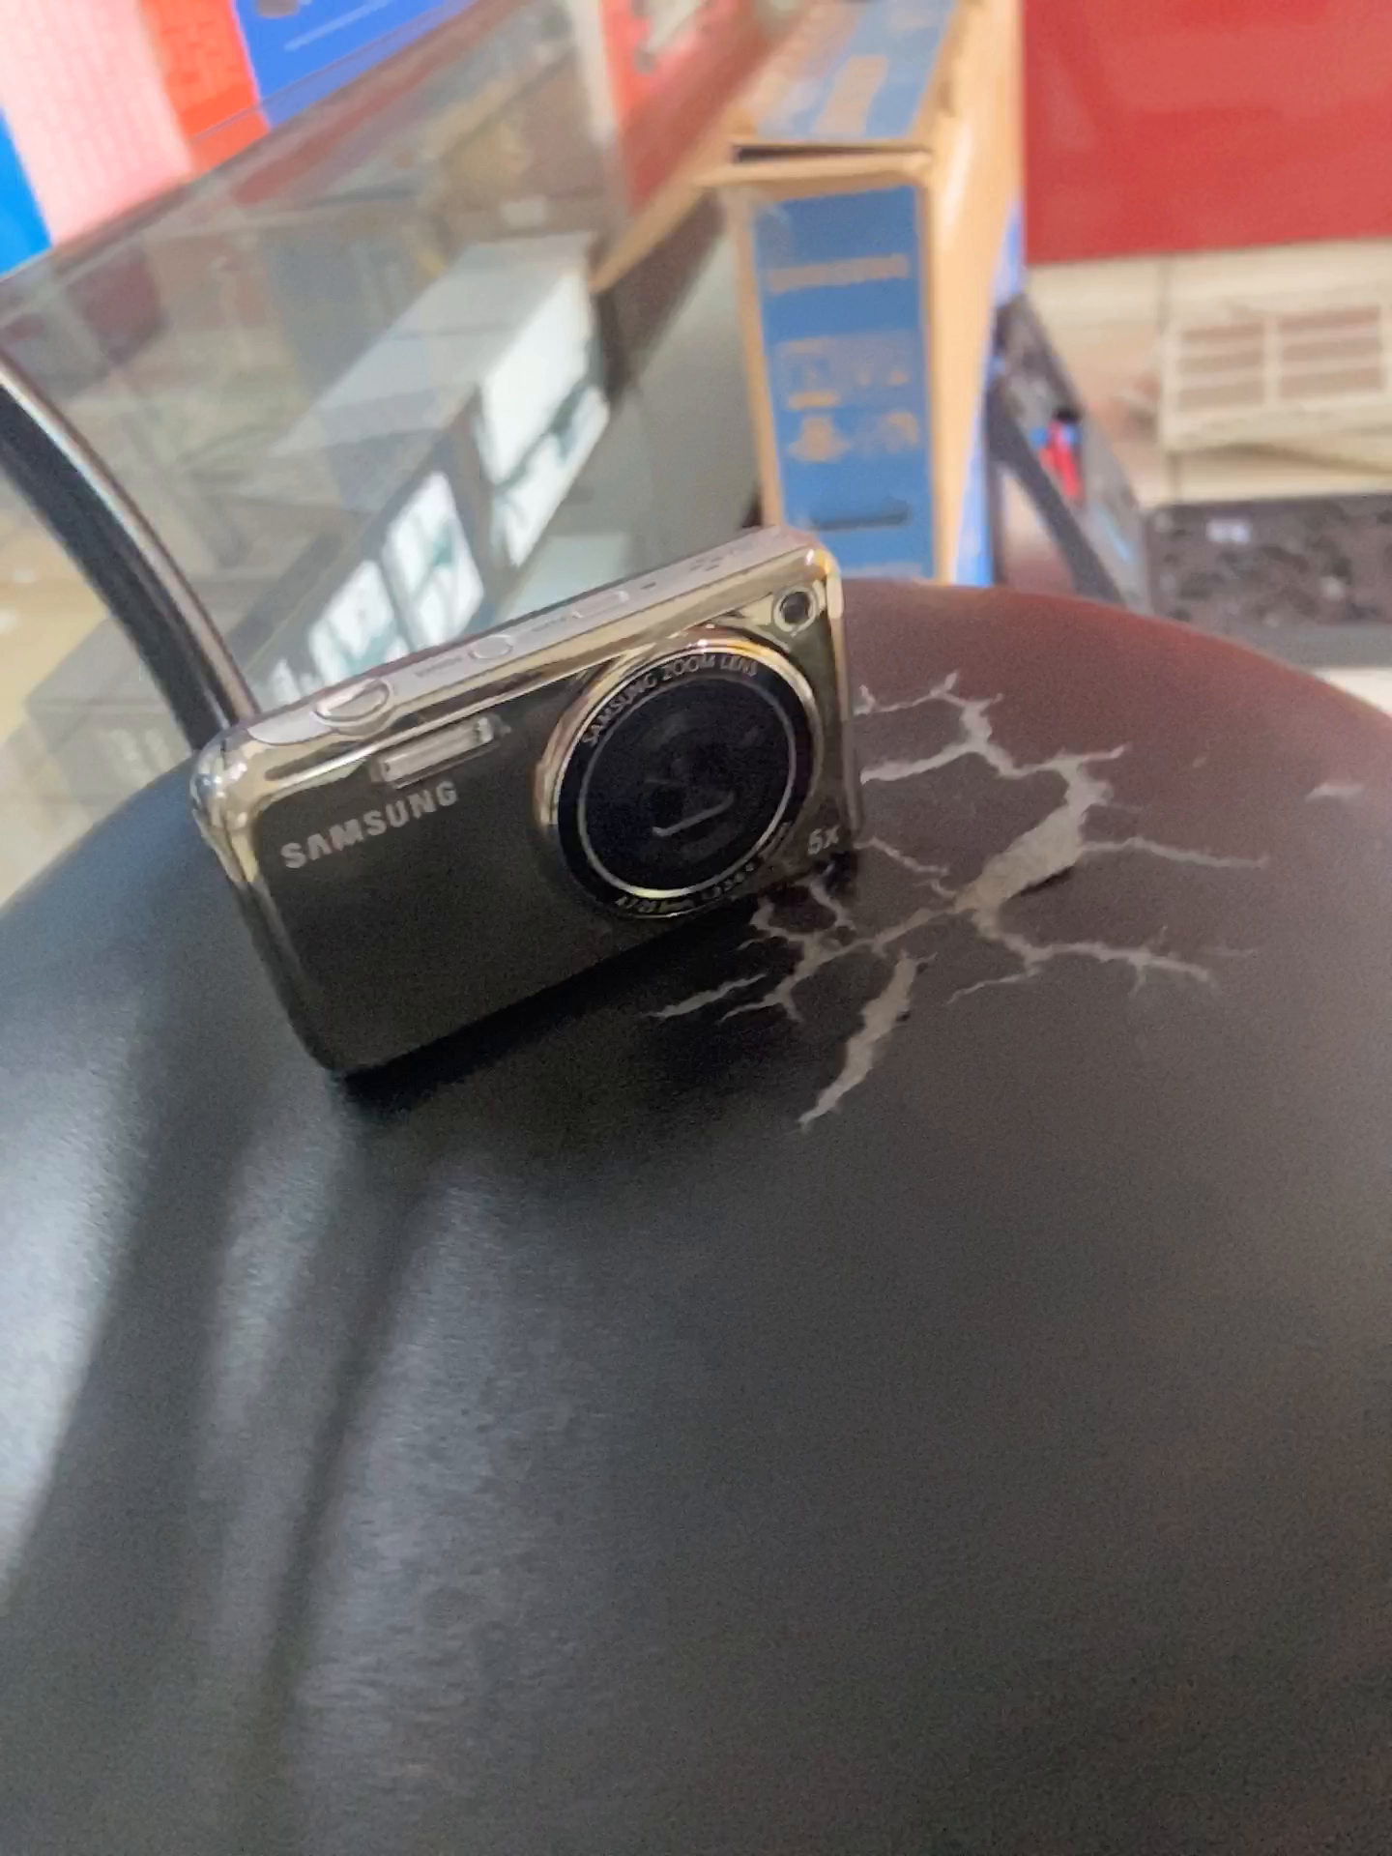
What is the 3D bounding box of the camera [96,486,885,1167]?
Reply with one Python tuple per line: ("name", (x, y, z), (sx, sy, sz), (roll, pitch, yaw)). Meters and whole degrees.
("camera", (-0.024, -0.016, 0.215), (0.100, 0.060, 0.030), (-25, 42, -16))
